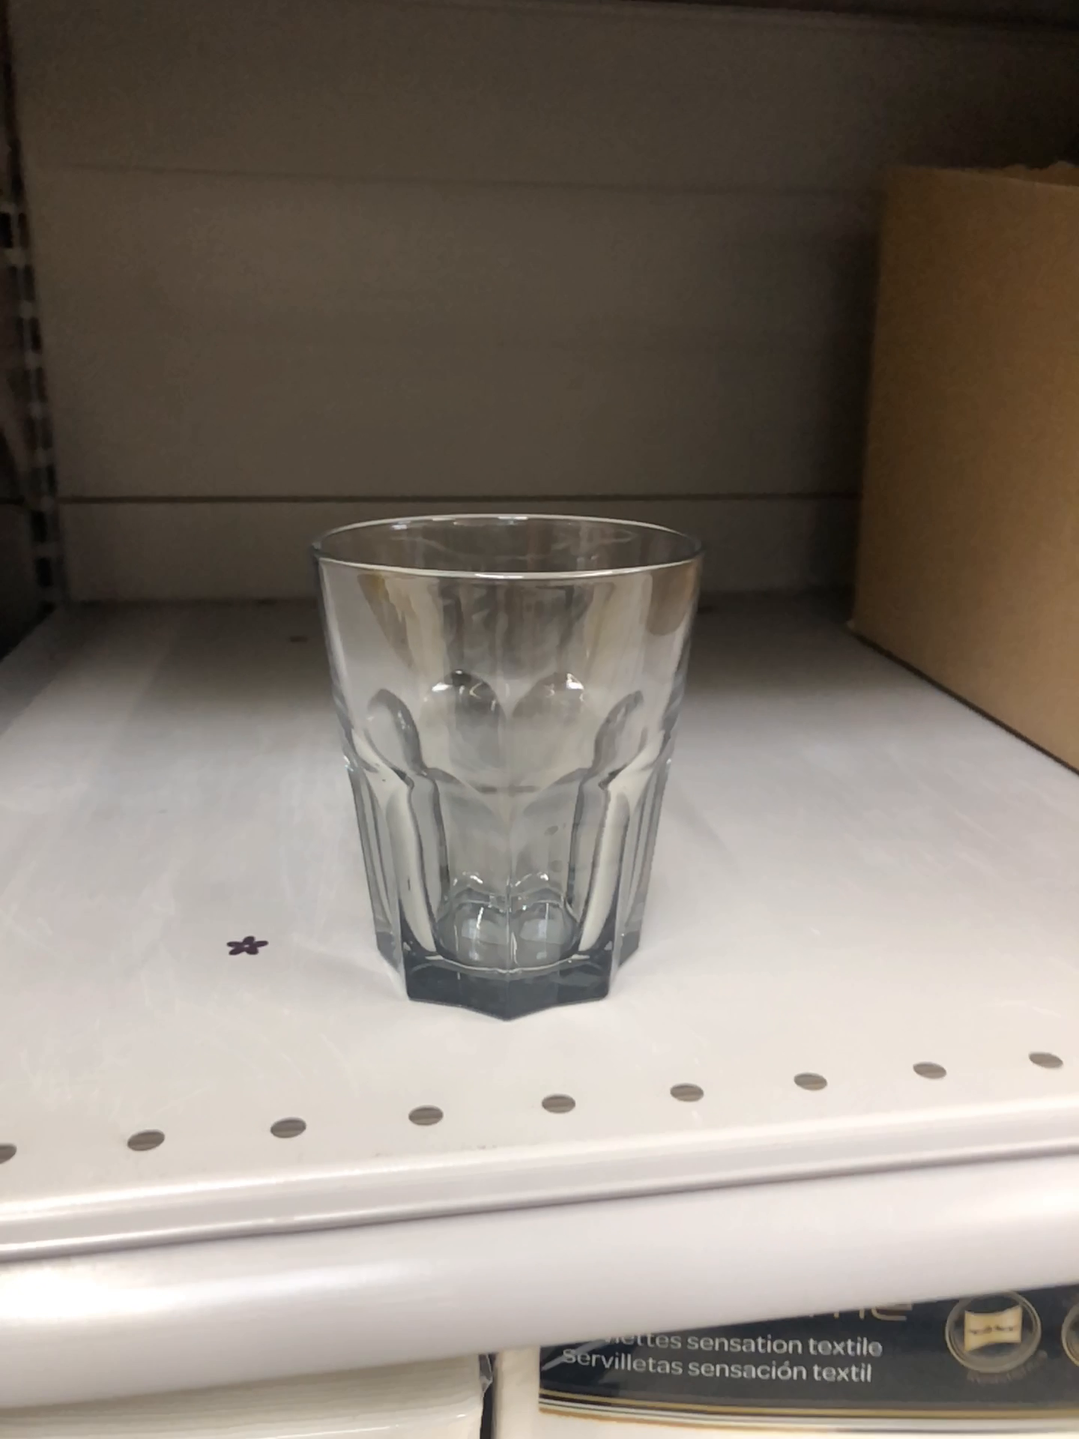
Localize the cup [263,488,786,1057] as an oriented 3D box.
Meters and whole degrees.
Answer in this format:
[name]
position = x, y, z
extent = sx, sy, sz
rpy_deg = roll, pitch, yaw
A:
[cup]
position = 0.002, 0.003, 0.261
extent = 0.085, 0.092, 0.083
rpy_deg = 1, 17, 0
